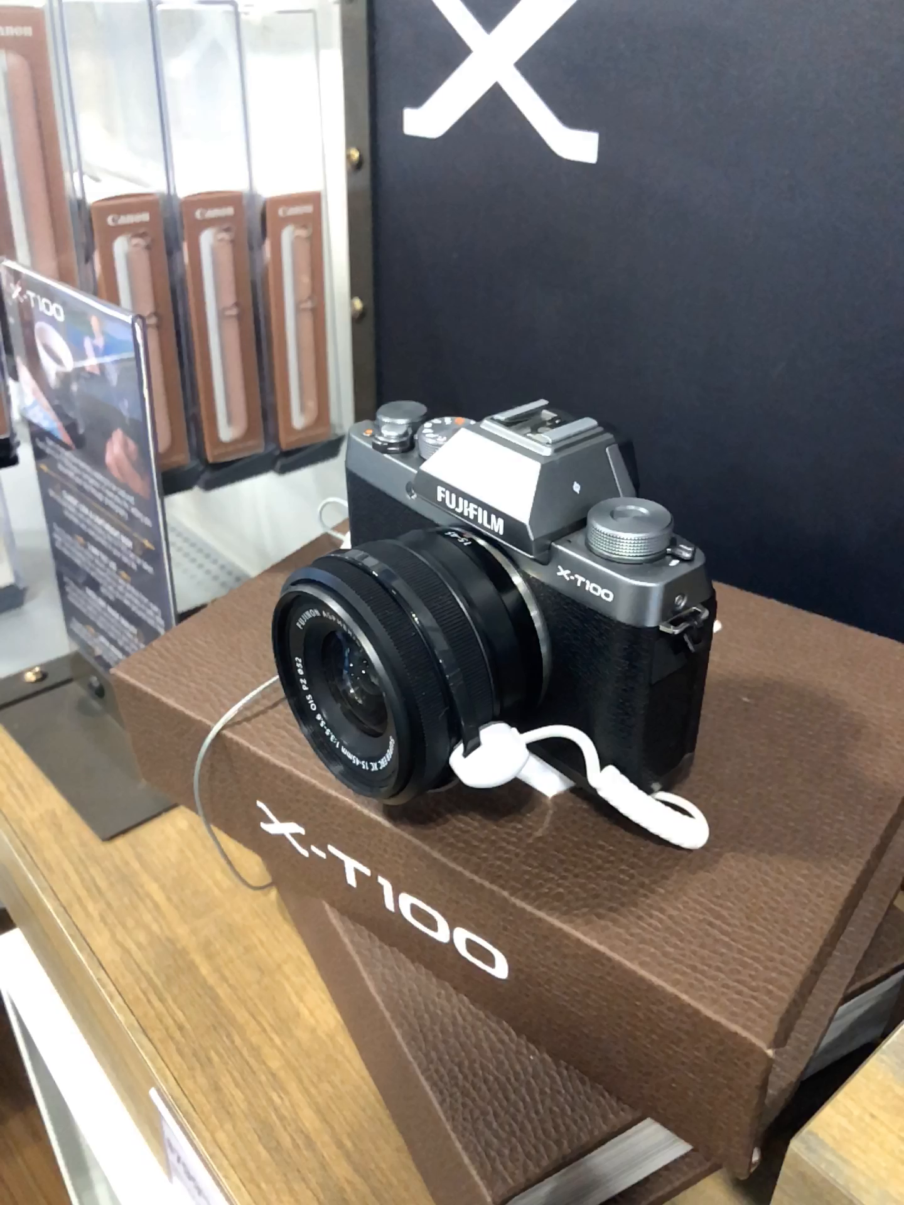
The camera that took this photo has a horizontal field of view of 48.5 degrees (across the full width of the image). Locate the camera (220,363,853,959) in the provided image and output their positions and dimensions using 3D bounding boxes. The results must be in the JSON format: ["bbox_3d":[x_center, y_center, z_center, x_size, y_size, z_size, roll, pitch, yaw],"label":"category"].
[{"bbox_3d":[0.016,0.002,0.280,0.100,0.089,0.131,-21,37,-34],"label":"camera"}]
